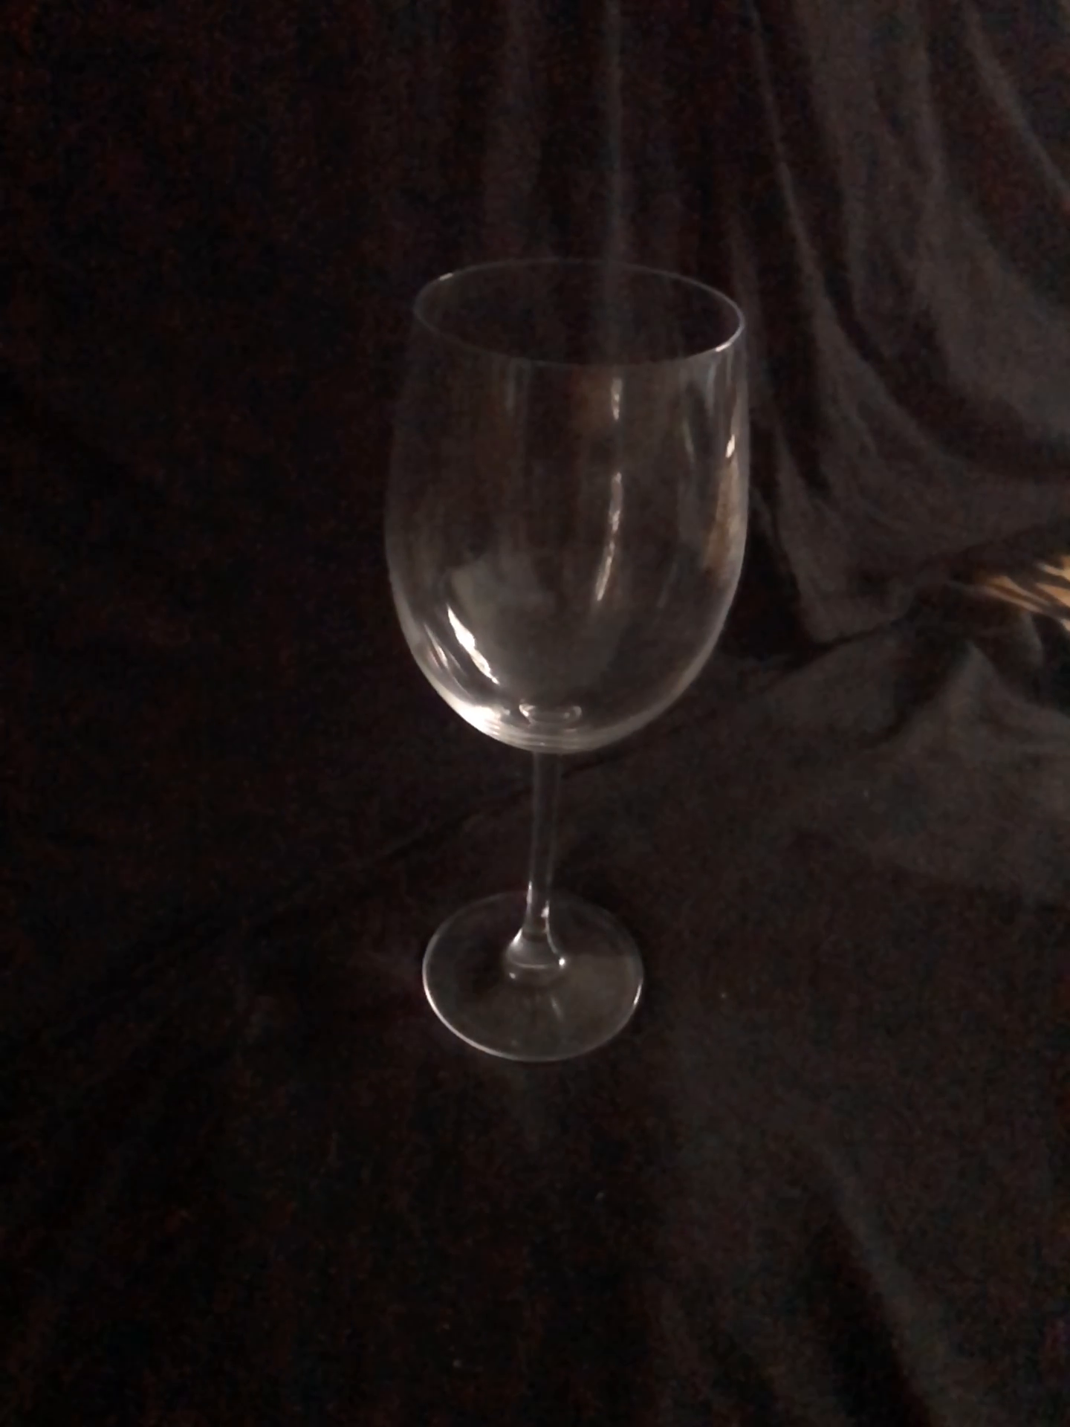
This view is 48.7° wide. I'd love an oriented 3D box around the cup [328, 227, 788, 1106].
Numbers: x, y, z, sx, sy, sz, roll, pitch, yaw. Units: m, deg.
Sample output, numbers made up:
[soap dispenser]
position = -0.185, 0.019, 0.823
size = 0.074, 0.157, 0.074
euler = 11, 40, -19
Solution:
[cup]
position = 0.007, 0.000, 0.384
size = 0.103, 0.266, 0.101
euler = 2, 39, -2
